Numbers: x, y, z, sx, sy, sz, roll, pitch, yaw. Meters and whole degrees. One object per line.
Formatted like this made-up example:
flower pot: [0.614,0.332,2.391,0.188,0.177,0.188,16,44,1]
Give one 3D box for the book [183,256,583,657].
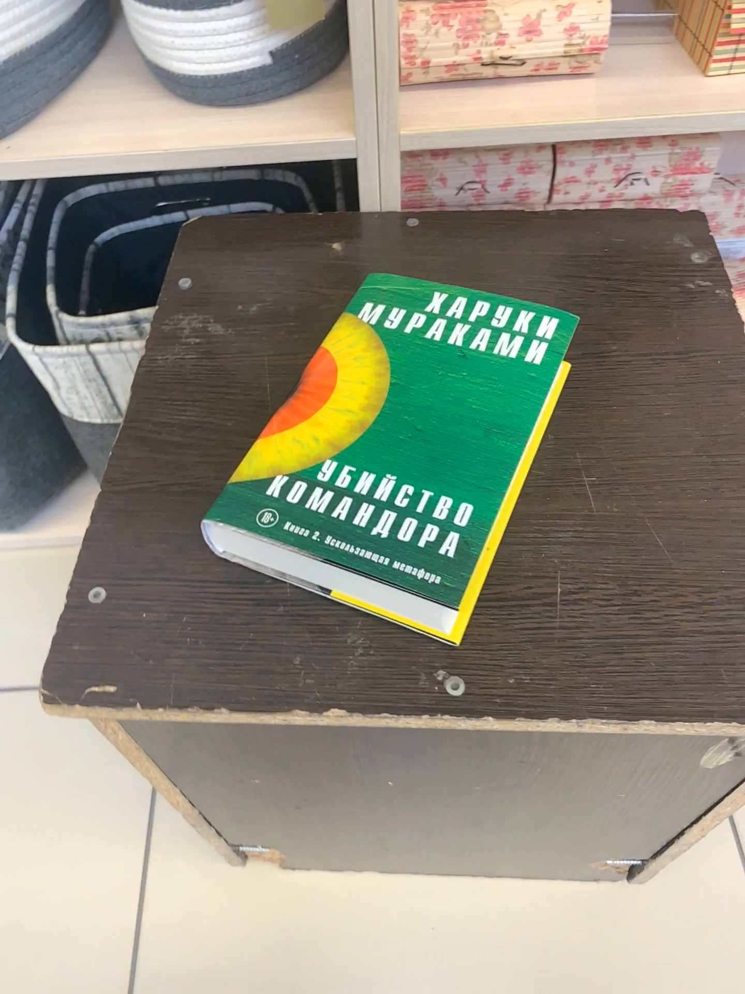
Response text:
book: [0.016,-0.038,0.449,0.150,0.050,0.217,18,59,16]
